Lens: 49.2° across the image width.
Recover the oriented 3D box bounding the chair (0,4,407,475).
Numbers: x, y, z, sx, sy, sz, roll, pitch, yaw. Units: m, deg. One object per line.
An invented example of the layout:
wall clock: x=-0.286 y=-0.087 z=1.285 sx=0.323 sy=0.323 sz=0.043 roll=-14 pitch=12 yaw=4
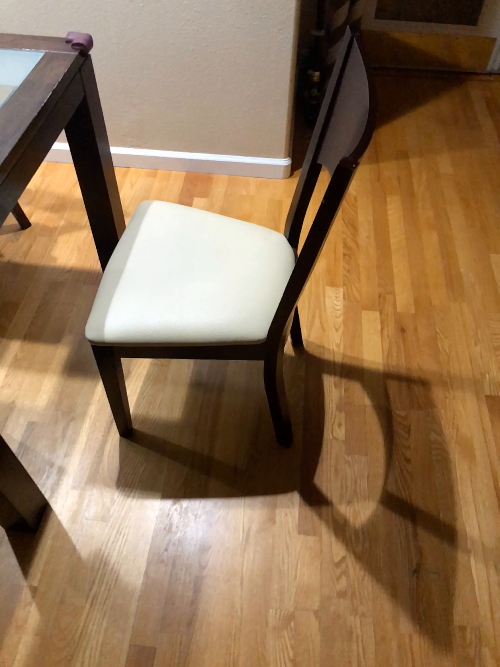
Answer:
chair: x=-0.092 y=-0.134 z=1.315 sx=0.640 sy=1.005 sz=0.503 roll=3 pitch=50 yaw=2
